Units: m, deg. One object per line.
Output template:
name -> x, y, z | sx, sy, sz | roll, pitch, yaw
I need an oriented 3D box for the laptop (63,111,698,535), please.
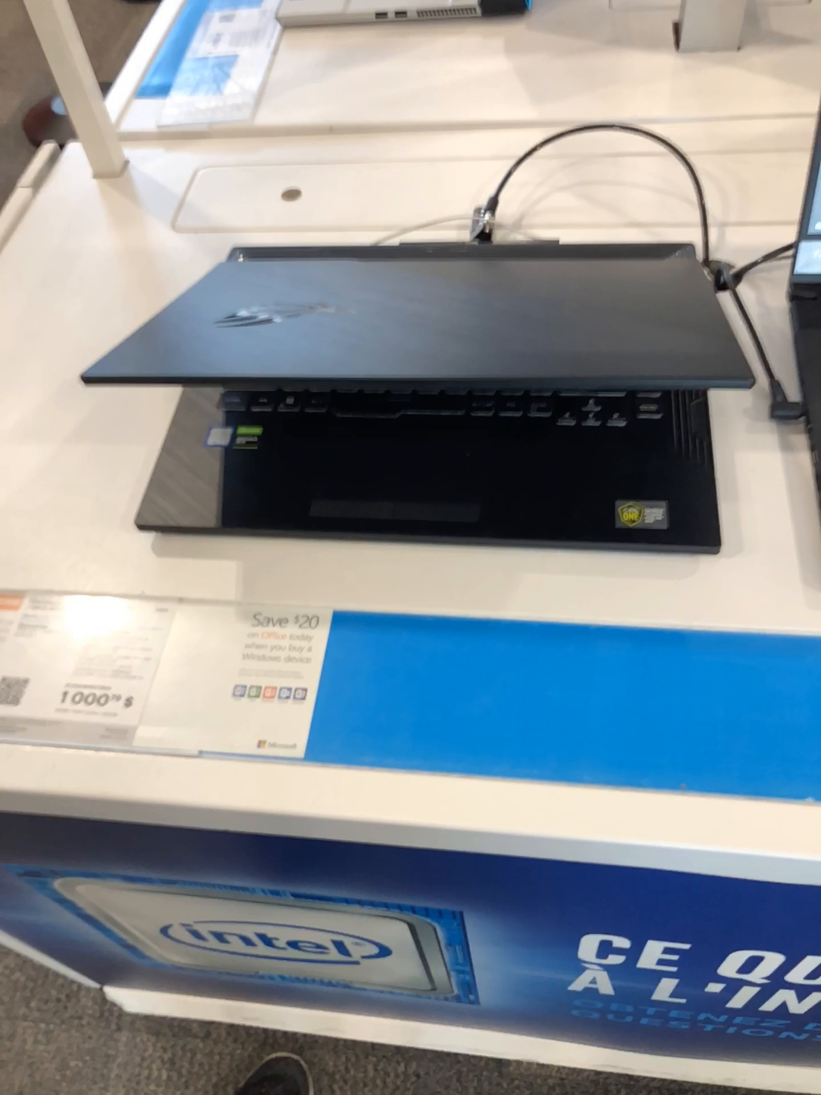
laptop -> -0.003, -0.147, 0.574 | 0.331, 0.097, 0.264 | 2, 55, 11
